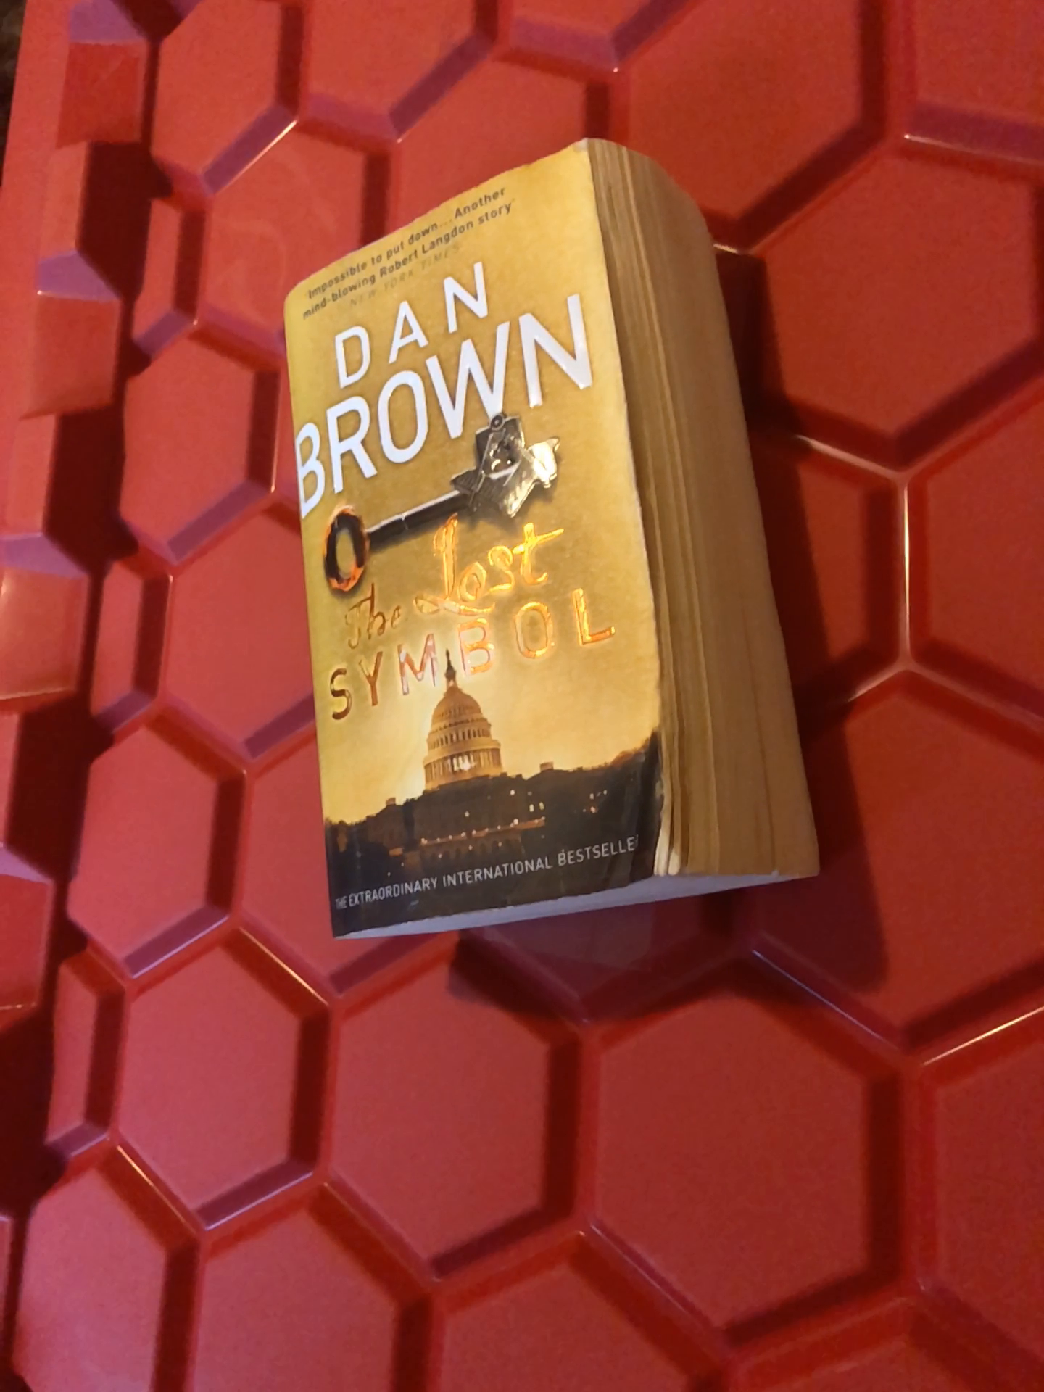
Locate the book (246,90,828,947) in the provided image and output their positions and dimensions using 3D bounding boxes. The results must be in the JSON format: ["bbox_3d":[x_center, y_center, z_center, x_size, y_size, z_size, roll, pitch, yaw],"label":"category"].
[{"bbox_3d":[-0.004,-0.036,0.299,0.122,0.051,0.183,-15,73,29],"label":"book"}]
